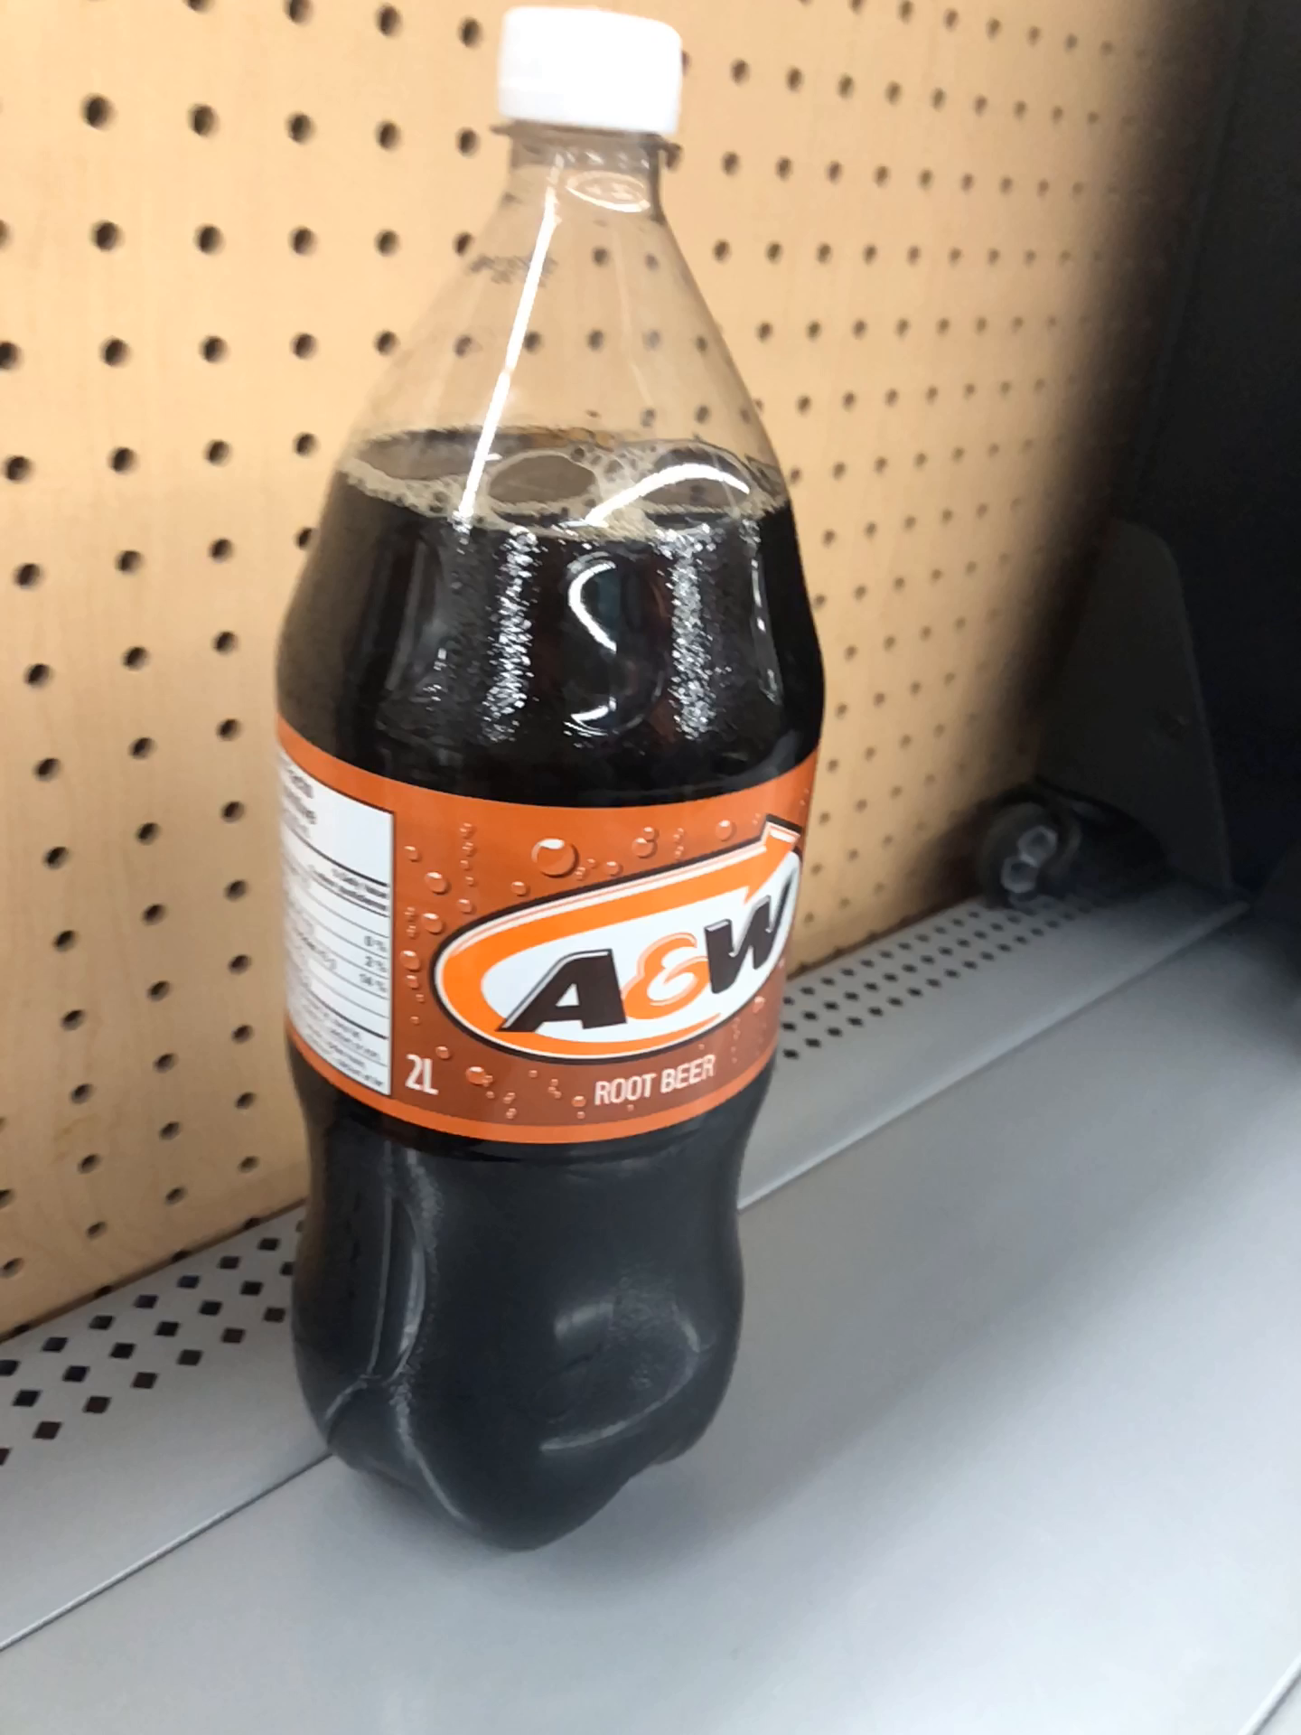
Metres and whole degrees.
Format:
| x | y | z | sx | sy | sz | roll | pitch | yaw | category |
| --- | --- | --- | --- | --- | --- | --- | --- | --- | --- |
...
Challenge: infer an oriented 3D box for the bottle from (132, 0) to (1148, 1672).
| x | y | z | sx | sy | sz | roll | pitch | yaw | category |
| --- | --- | --- | --- | --- | --- | --- | --- | --- | --- |
| -0.020 | -0.008 | 0.302 | 0.120 | 0.308 | 0.121 | 4 | 27 | -2 | bottle |
